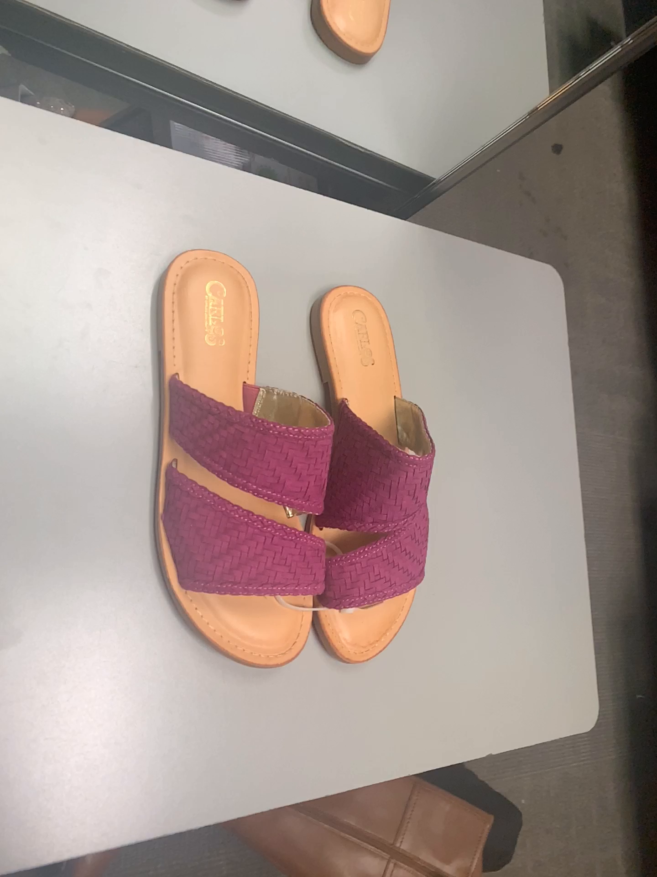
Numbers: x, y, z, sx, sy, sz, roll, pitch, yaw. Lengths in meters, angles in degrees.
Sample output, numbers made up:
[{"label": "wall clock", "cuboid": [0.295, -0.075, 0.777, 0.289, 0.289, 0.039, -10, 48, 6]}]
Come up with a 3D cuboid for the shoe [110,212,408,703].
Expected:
[{"label": "shoe", "cuboid": [-0.043, 0.007, 0.377, 0.109, 0.071, 0.238, -4, 78, -35]}]

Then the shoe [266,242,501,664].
[{"label": "shoe", "cuboid": [0.030, 0.012, 0.426, 0.109, 0.071, 0.238, 6, 73, -34]}]
